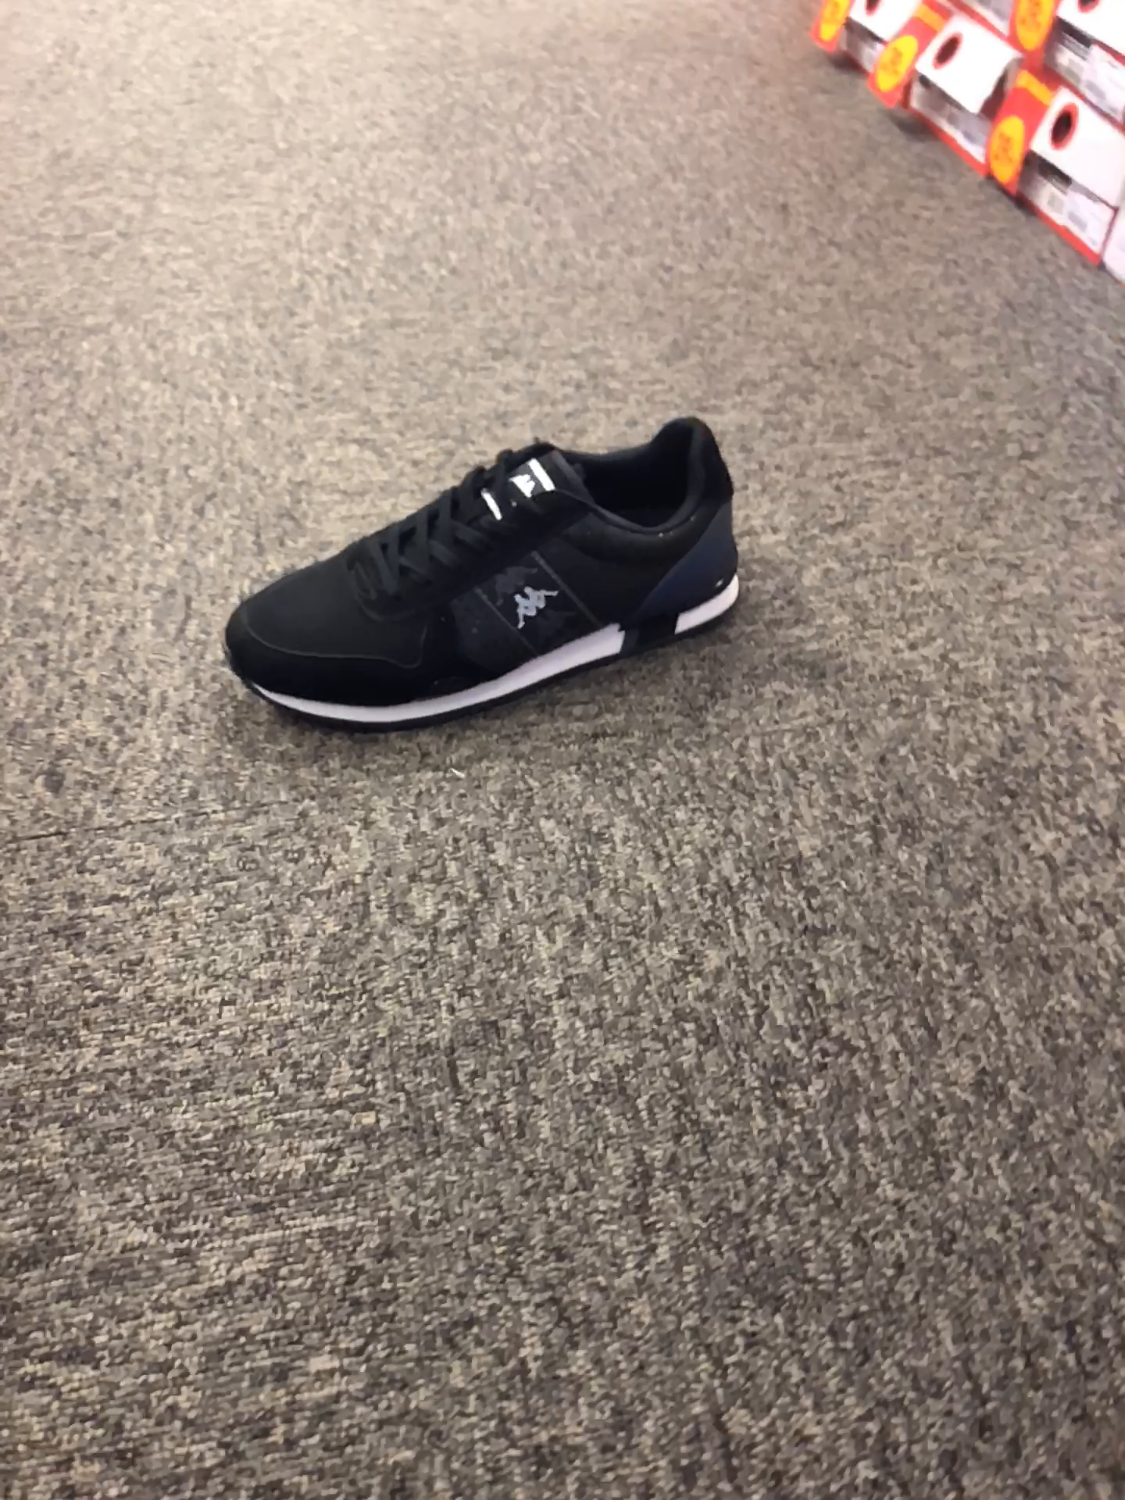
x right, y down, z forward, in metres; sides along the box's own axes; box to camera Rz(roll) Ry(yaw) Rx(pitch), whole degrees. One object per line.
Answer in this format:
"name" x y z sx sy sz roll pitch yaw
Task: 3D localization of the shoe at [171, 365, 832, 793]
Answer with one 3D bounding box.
"shoe" -0.026 -0.084 0.577 0.274 0.090 0.100 -17 47 -11
